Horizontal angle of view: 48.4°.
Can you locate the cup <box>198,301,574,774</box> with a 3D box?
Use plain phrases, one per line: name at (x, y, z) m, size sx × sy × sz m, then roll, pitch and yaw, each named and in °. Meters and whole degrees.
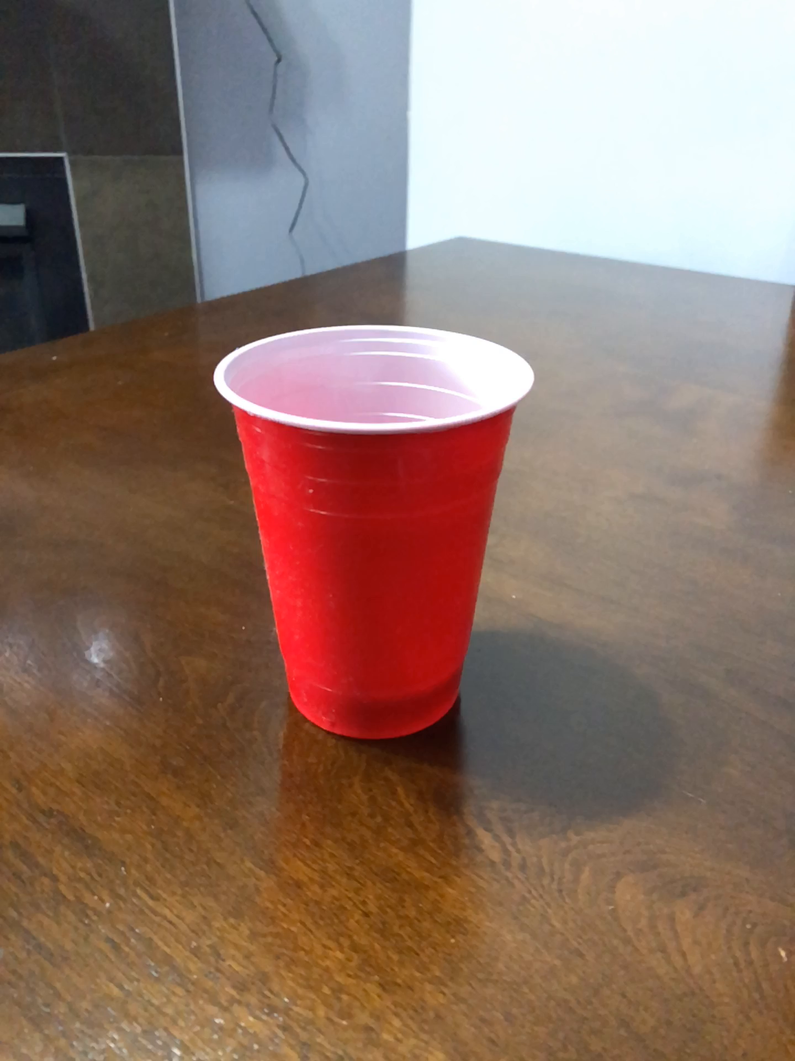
cup at (-0.005, -0.002, 0.279) m, size 0.090 × 0.120 × 0.090 m, roll 1°, pitch 26°, yaw 0°
